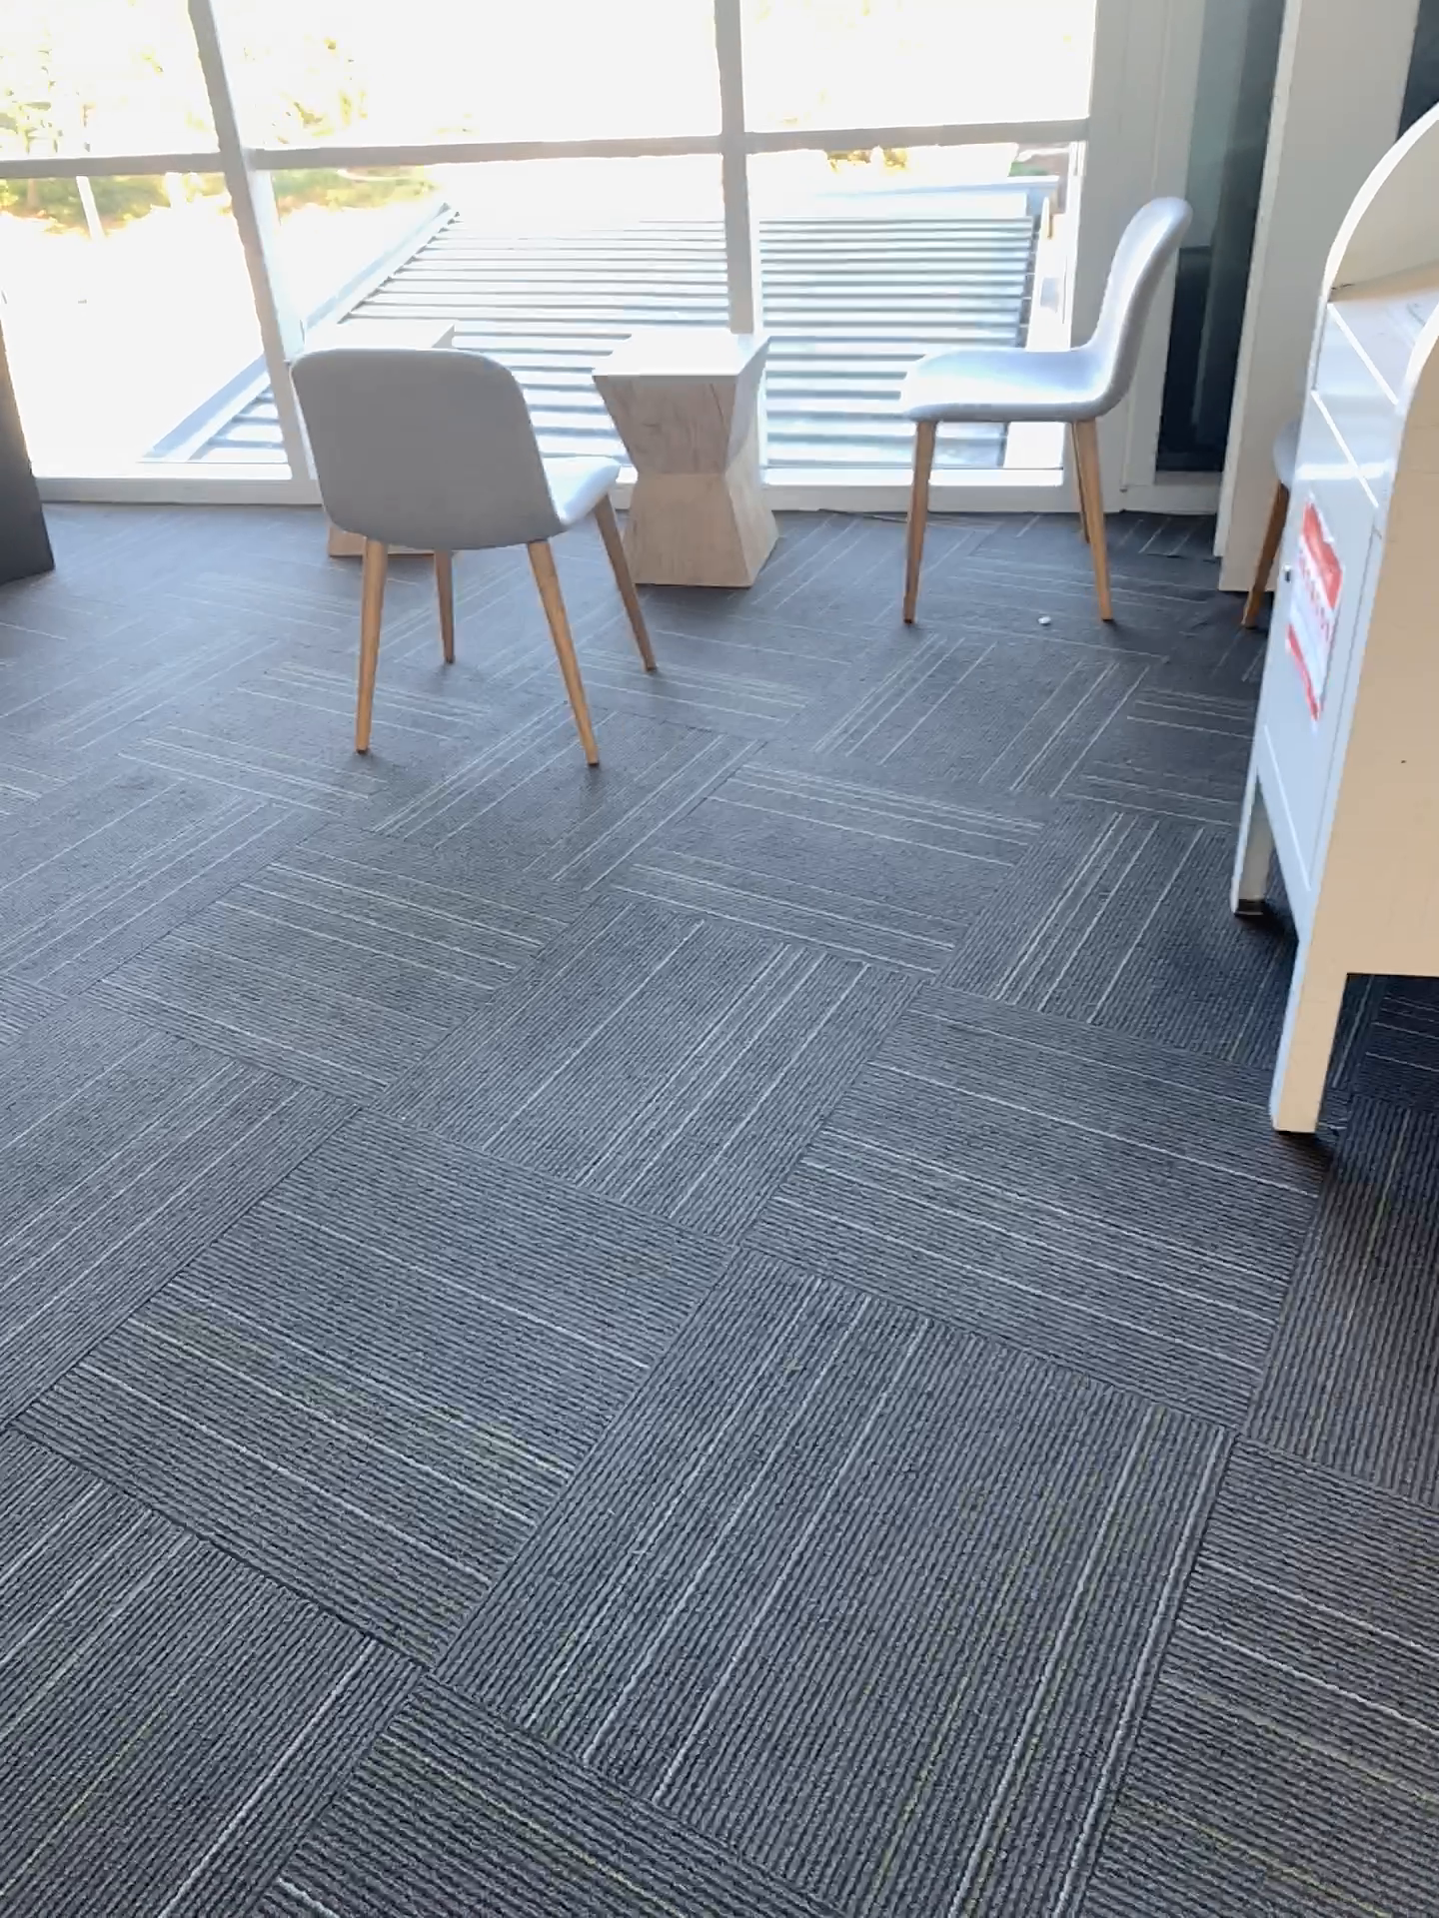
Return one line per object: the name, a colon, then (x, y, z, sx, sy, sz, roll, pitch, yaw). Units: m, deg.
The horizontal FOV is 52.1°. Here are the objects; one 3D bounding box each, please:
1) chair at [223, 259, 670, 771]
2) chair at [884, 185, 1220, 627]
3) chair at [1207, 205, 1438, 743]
chair: (-0.461, -0.856, 2.819, 0.561, 0.765, 0.603, 4, 36, 11)
chair: (0.681, -1.202, 3.197, 0.600, 0.745, 0.644, 2, 35, 9)
chair: (1.296, -0.895, 2.705, 0.600, 0.765, 0.644, 2, 35, 9)
